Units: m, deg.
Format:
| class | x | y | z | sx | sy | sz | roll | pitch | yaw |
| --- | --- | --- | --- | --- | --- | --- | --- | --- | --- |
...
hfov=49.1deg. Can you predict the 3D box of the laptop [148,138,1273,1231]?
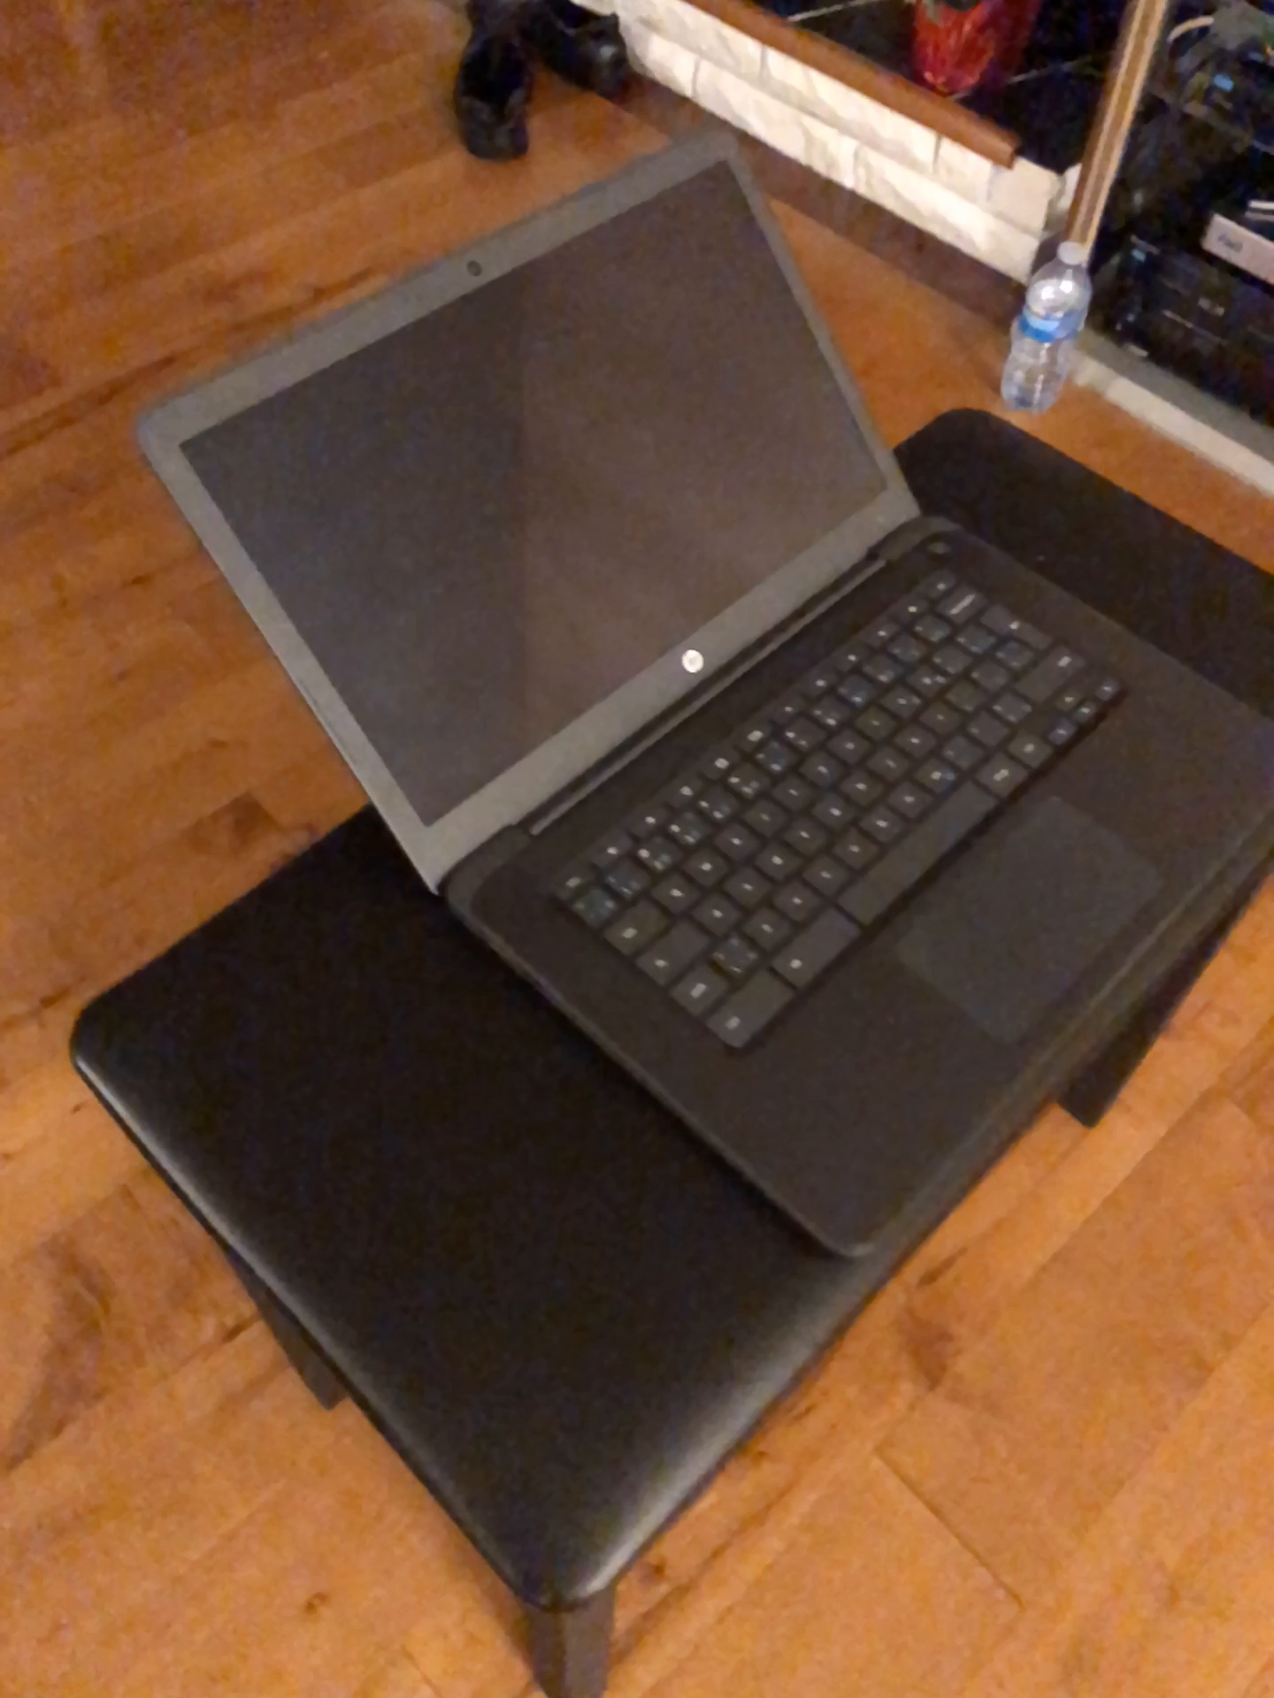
| class | x | y | z | sx | sy | sz | roll | pitch | yaw |
| --- | --- | --- | --- | --- | --- | --- | --- | --- | --- |
| laptop | 0.054 | -0.103 | 0.570 | 0.363 | 0.143 | 0.317 | 38 | 61 | 25 |
